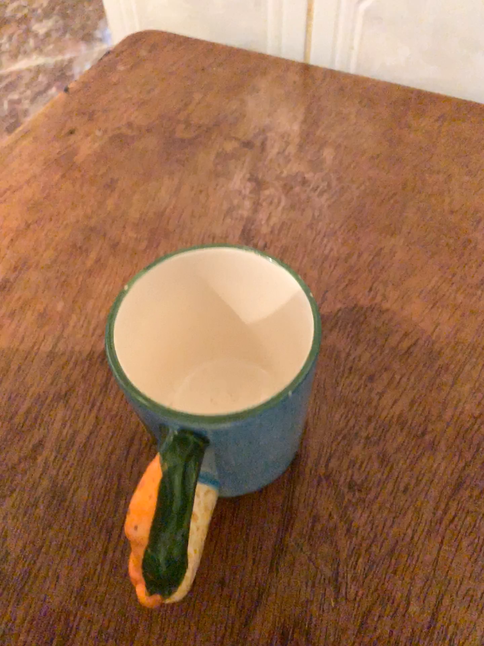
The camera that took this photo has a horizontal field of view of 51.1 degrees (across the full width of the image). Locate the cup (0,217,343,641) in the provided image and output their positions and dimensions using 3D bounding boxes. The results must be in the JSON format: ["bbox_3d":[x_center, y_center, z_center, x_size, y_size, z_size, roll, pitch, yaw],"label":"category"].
[{"bbox_3d":[-0.013,0.044,0.210,0.080,0.100,0.130,10,57,9],"label":"cup"}]
